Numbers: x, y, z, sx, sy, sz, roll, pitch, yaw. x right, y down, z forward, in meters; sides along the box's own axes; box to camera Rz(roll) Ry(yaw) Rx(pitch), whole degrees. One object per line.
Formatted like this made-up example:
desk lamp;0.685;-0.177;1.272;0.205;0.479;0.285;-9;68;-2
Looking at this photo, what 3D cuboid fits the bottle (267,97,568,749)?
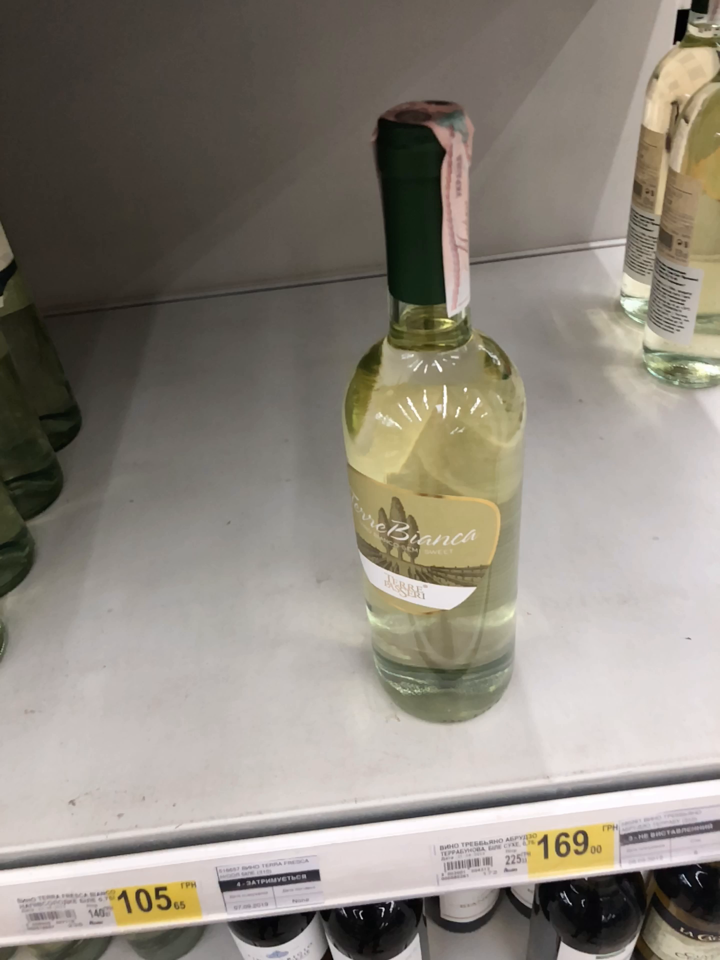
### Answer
bottle;0.031;-0.002;0.325;0.070;0.269;0.070;-4;41;3
